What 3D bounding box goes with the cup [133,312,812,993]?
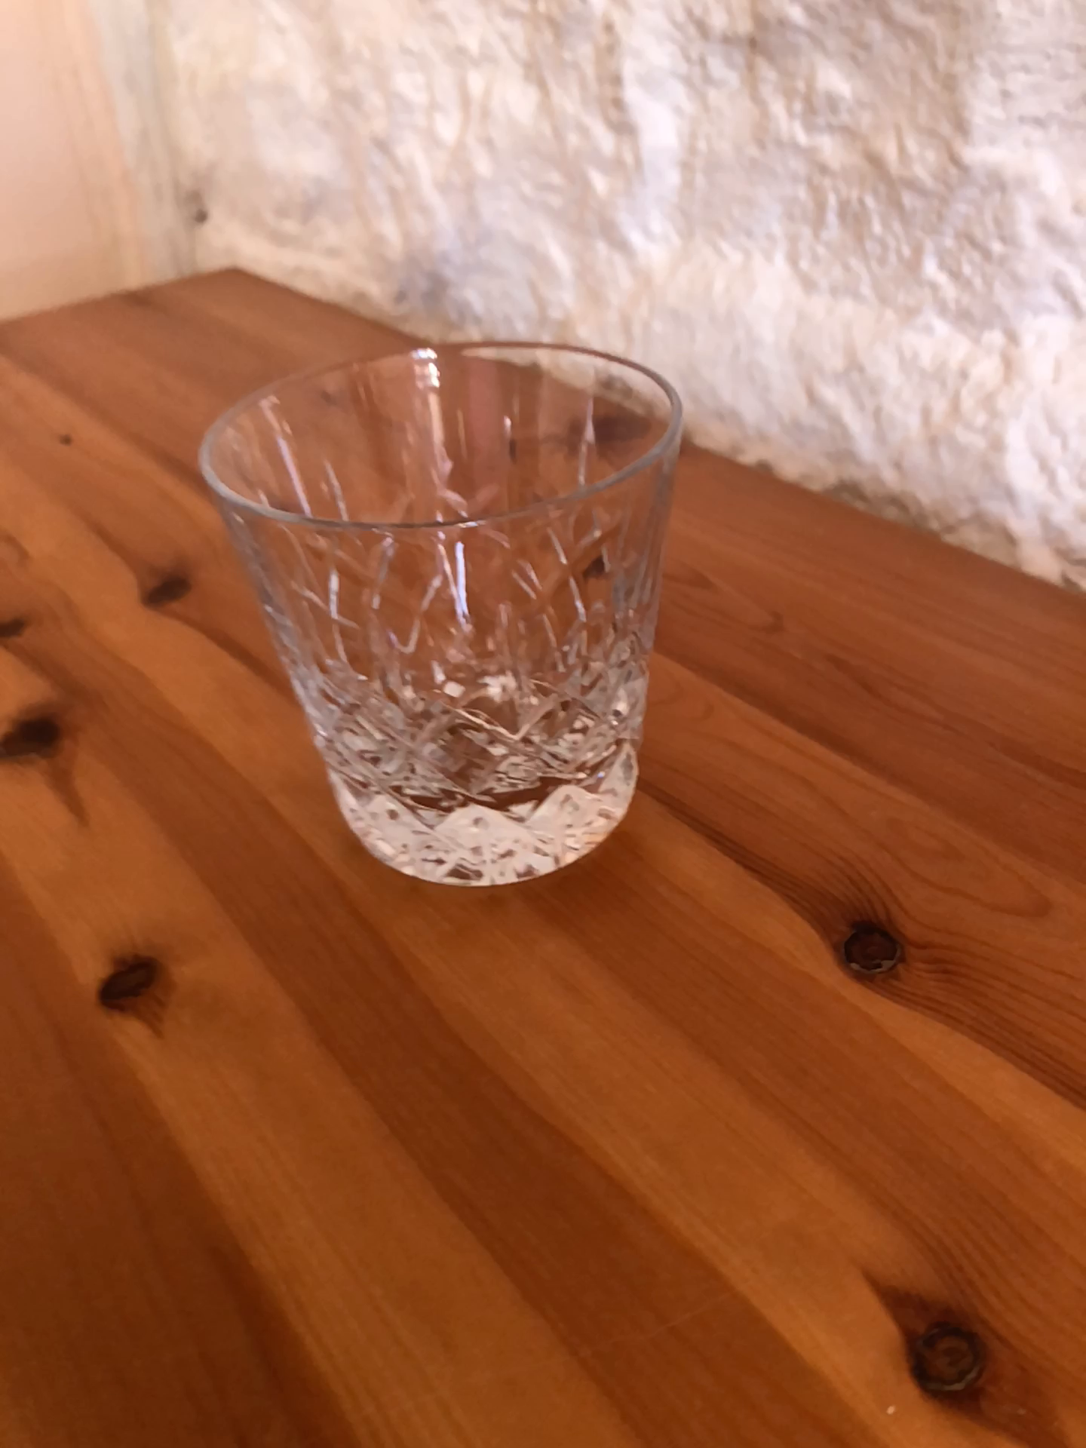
[{"bbox_3d":[-0.011,-0.019,0.206,0.077,0.068,0.078,-4,35,3],"label":"cup"}]
